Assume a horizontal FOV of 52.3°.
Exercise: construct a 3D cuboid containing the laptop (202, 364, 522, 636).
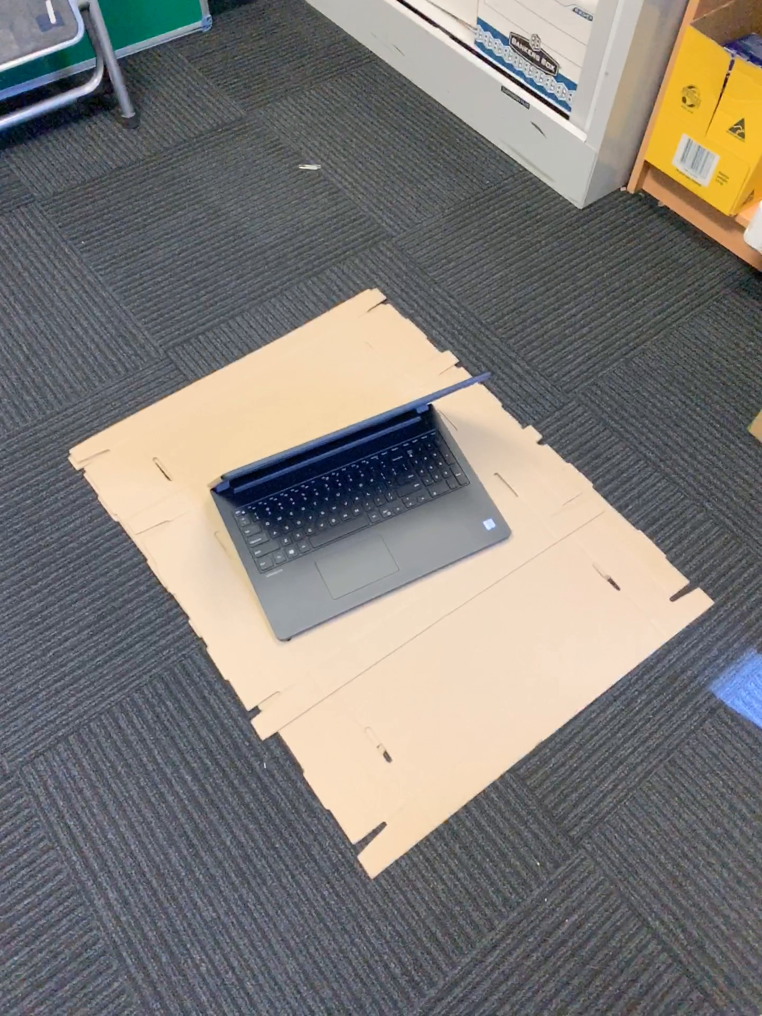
[{"bbox_3d":[-0.025,-0.020,1.003,0.341,0.085,0.221,-23,66,-15],"label":"laptop"}]
